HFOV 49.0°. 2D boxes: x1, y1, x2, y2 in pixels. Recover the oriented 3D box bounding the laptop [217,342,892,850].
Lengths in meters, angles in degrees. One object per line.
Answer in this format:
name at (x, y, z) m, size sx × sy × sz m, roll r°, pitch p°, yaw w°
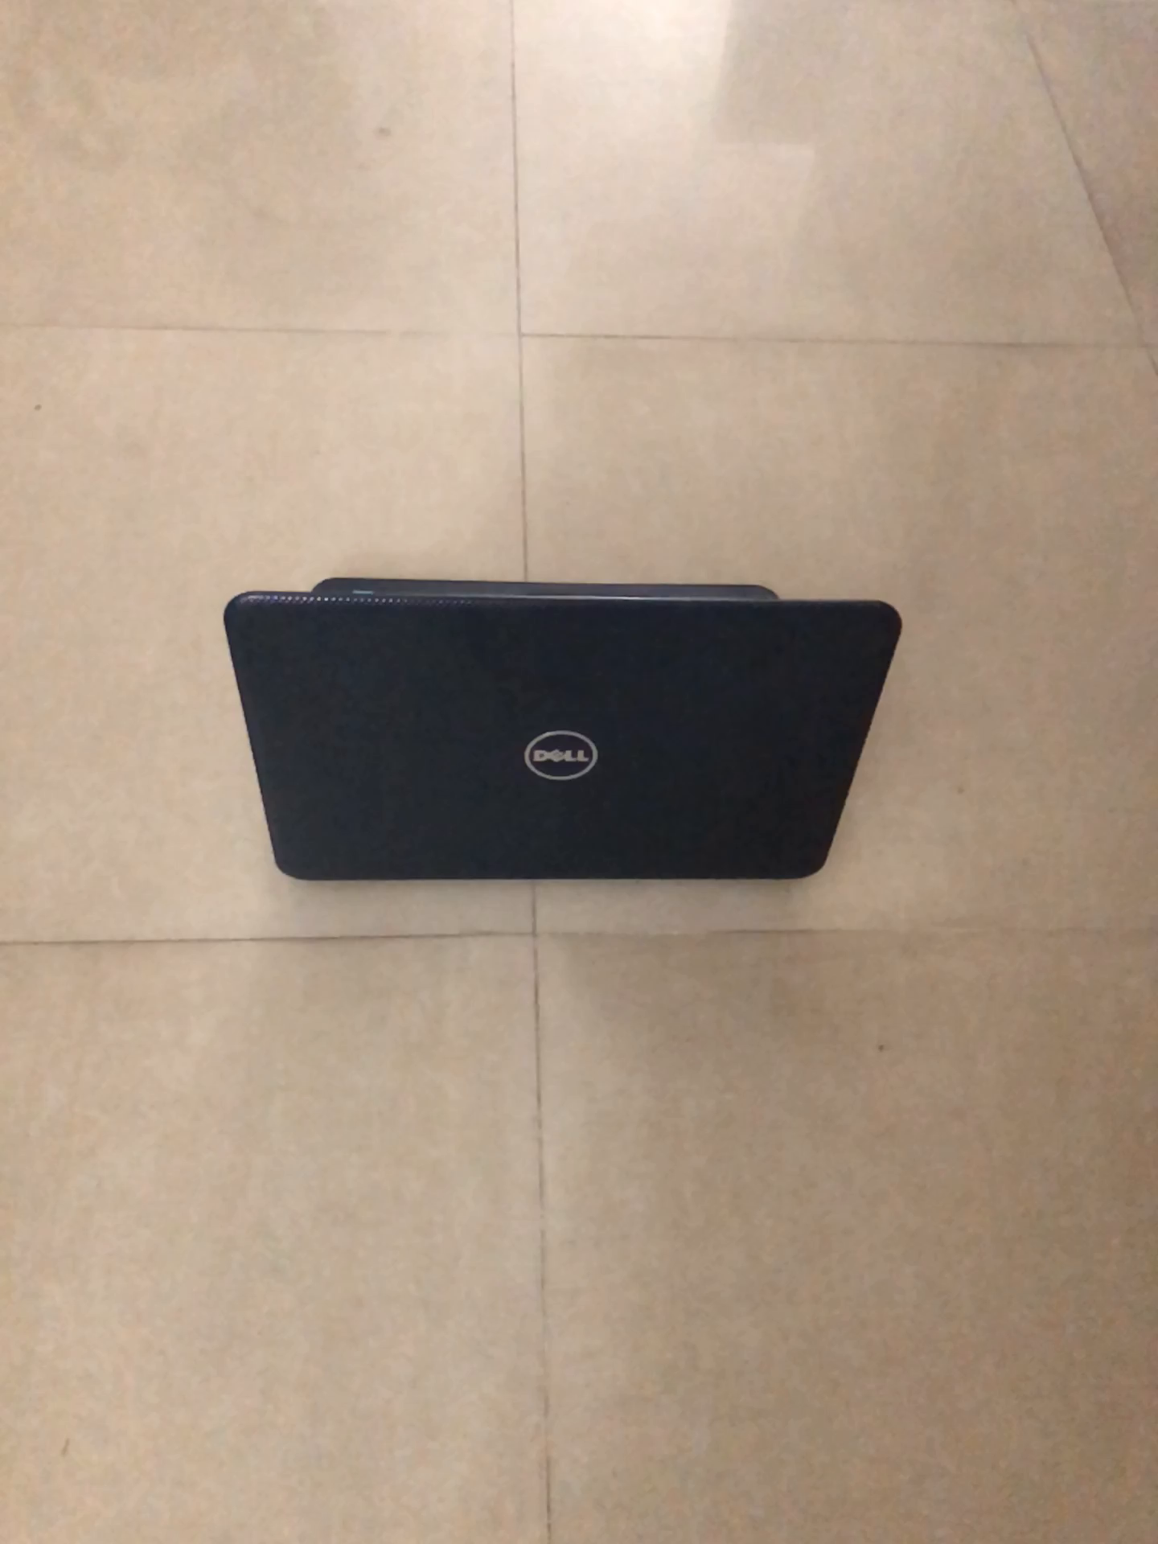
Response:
laptop at (-0.020, -0.108, 0.830) m, size 0.351 × 0.227 × 0.248 m, roll 0°, pitch 57°, yaw -4°
